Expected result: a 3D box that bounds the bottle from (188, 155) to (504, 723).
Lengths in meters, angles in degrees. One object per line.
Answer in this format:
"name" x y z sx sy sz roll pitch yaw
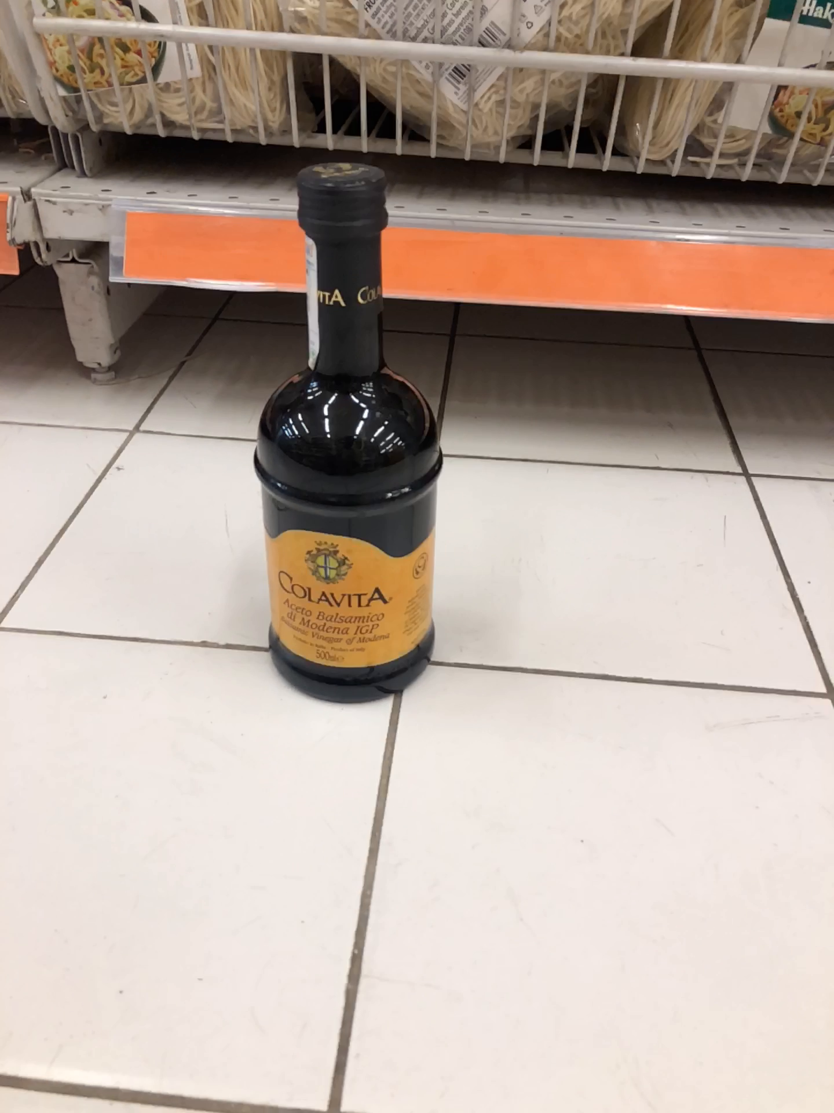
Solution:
"bottle" -0.021 -0.042 0.368 0.090 0.199 0.091 1 35 -1
